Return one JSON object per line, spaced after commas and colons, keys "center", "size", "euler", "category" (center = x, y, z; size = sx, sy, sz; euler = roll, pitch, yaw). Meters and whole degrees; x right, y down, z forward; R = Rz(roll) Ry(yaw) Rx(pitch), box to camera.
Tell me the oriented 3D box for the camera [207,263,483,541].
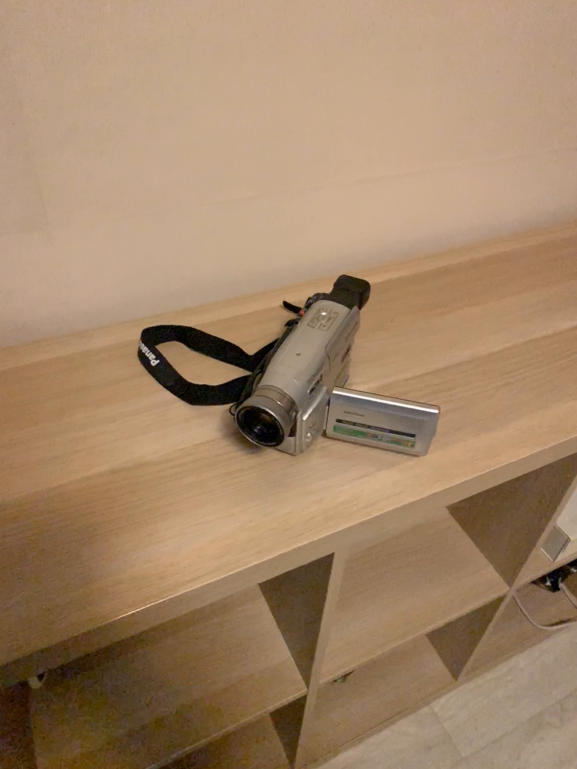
{"center": [0.067, -0.001, 0.619], "size": [0.203, 0.109, 0.247], "euler": [18, 42, 16], "category": "camera"}
